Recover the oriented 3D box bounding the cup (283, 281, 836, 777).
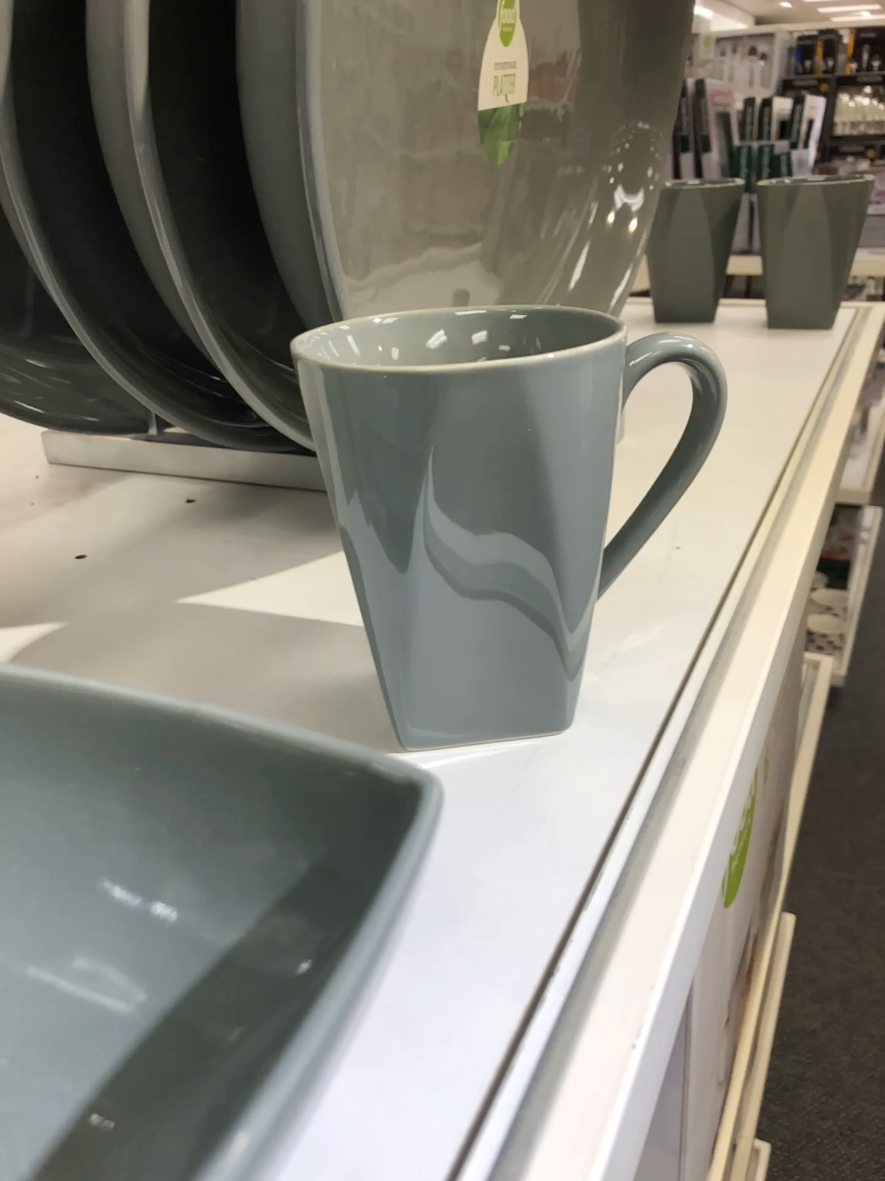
[{"bbox_3d":[0.022,-0.025,0.273,0.118,0.097,0.100,-6,25,-8],"label":"cup"}]
